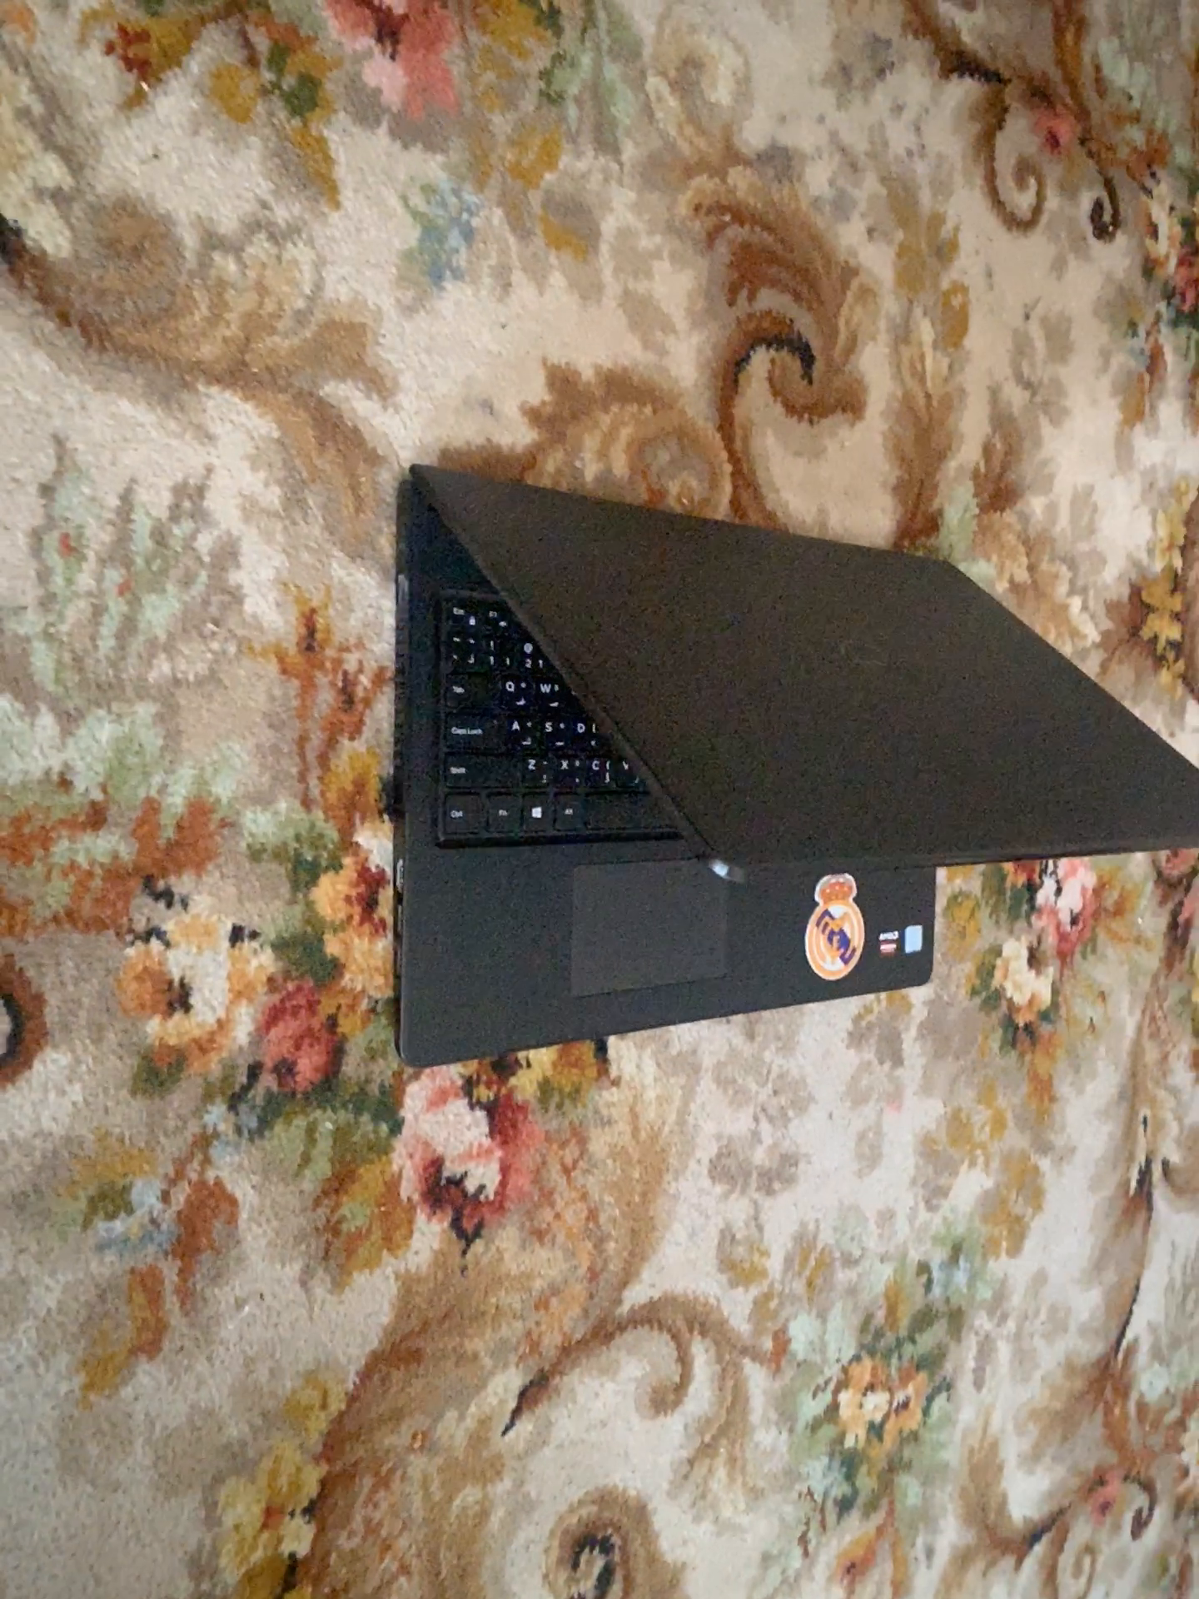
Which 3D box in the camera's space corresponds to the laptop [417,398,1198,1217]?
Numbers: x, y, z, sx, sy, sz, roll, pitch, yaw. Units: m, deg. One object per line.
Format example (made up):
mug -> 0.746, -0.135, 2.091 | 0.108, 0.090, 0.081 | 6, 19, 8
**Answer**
laptop -> 0.124, -0.006, 0.569 | 0.369, 0.193, 0.251 | -2, 93, -40
